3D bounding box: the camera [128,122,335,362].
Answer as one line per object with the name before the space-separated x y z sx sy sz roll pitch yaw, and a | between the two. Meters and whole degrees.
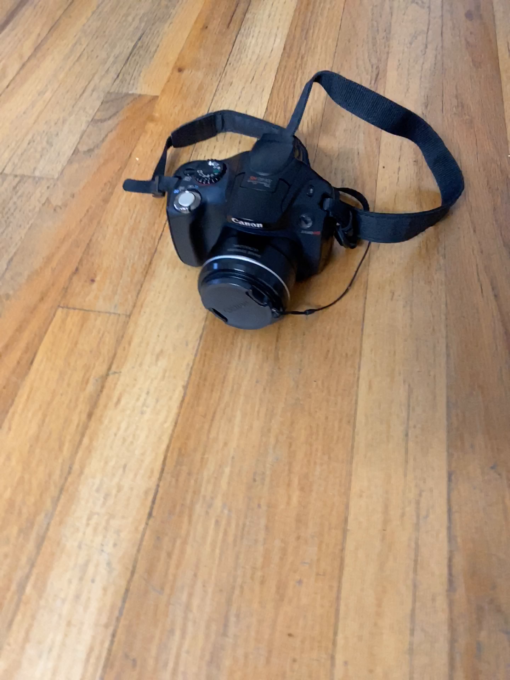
camera | -0.008 -0.071 0.388 0.110 0.110 0.120 9 58 9
